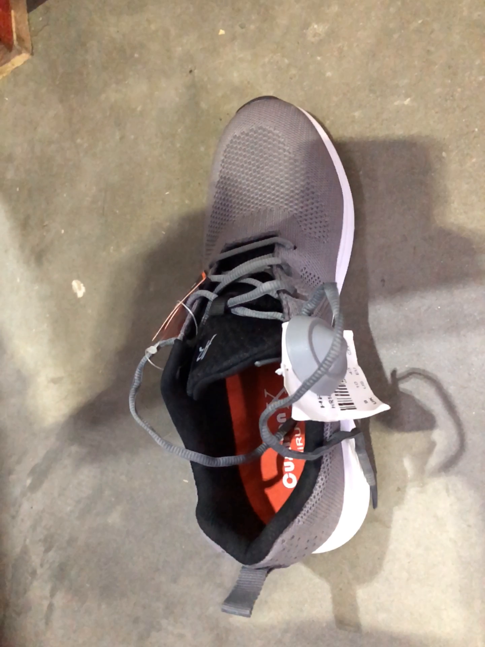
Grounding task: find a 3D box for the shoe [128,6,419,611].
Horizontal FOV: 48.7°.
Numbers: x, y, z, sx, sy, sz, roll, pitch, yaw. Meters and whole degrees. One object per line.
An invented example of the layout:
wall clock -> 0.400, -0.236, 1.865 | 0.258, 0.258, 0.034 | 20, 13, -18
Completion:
shoe -> 0.017, -0.008, 0.344 | 0.110, 0.100, 0.320 | -13, 79, 26
